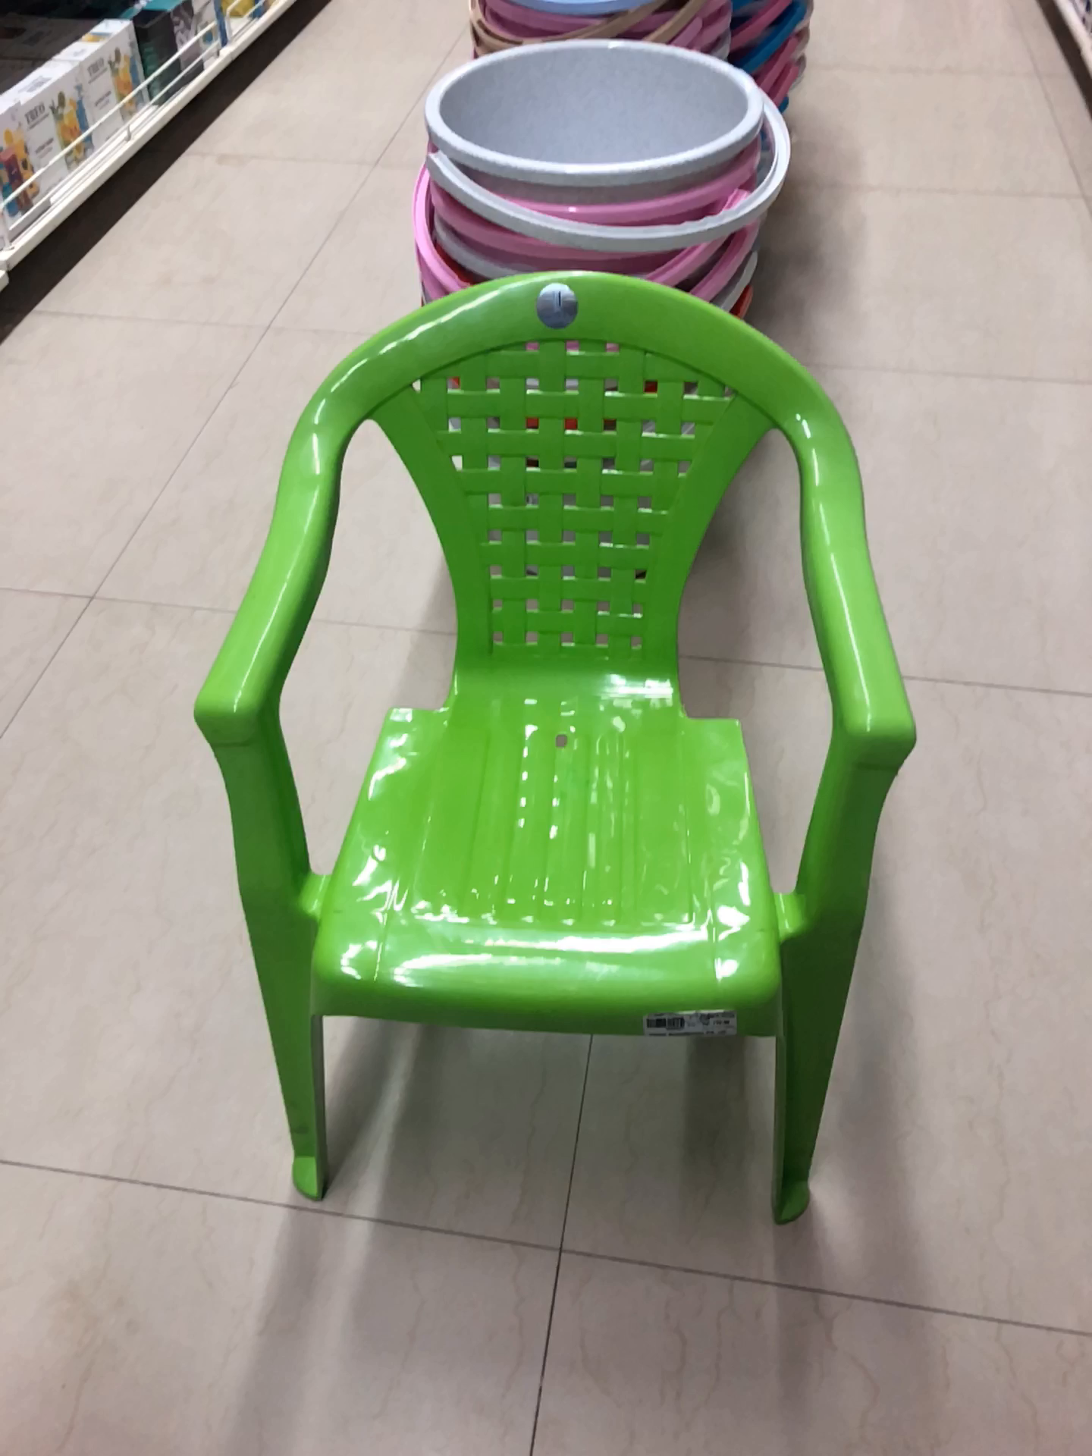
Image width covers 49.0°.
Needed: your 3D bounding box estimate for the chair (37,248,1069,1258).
[{"bbox_3d":[0.012,0.043,0.710,0.360,0.517,0.312,3,46,4],"label":"chair"}]
